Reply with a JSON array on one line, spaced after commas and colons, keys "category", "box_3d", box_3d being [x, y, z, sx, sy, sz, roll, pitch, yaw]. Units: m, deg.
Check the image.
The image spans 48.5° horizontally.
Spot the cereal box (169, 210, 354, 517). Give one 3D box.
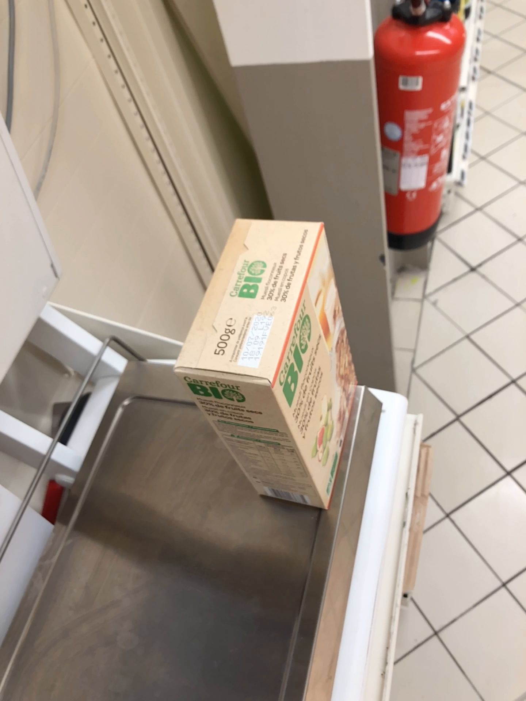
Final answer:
[{"category": "cereal box", "box_3d": [0.016, 0.021, 0.430, 0.060, 0.209, 0.131, 7, 60, 19]}]
